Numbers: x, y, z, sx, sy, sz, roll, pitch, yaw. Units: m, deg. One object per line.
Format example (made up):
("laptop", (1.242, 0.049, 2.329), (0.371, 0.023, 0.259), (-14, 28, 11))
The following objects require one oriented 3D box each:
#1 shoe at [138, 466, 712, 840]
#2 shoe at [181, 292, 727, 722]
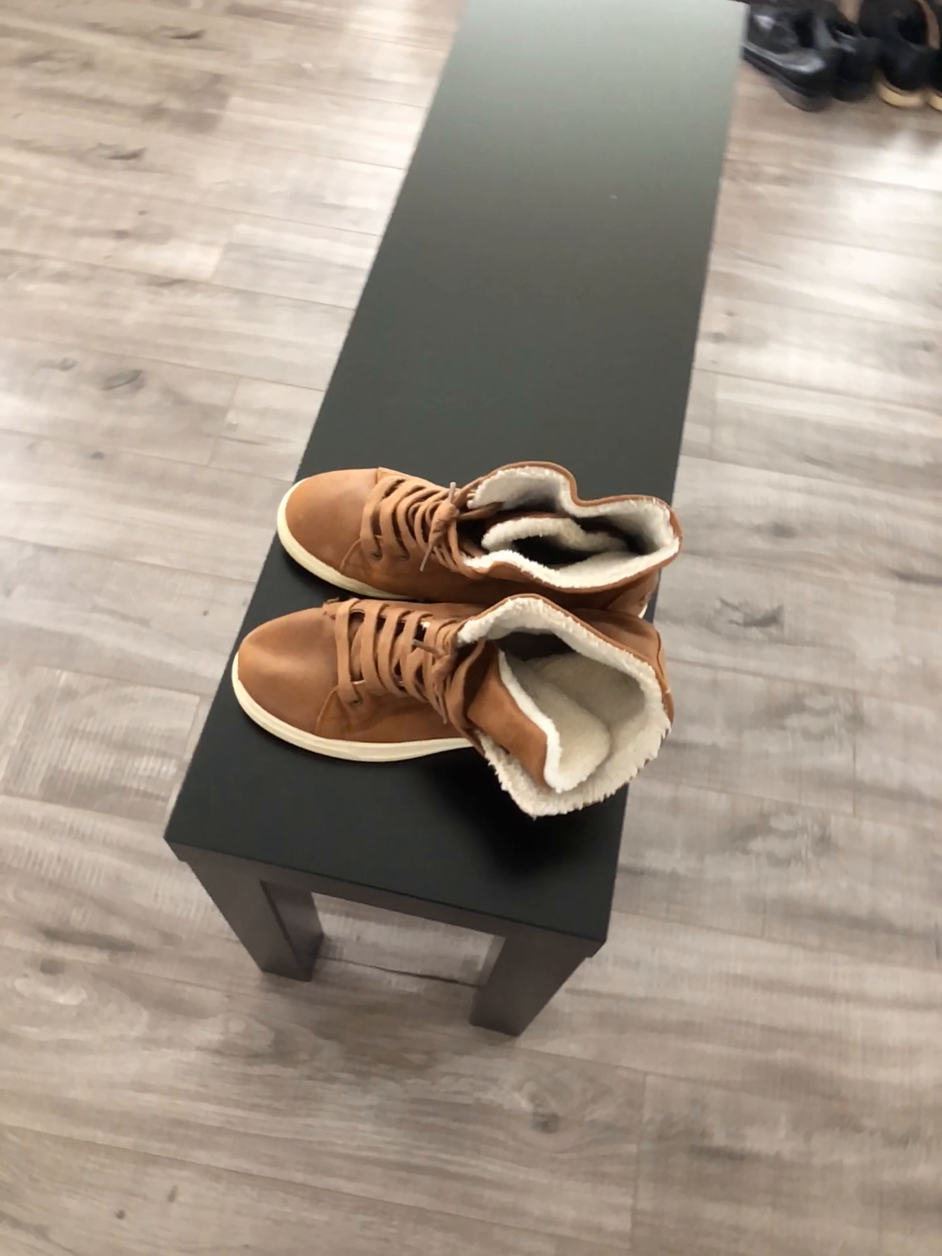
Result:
("shoe", (-0.020, 0.020, 0.558), (0.260, 0.140, 0.110), (9, 62, 1))
("shoe", (-0.010, -0.064, 0.600), (0.260, 0.150, 0.110), (19, 63, 6))
